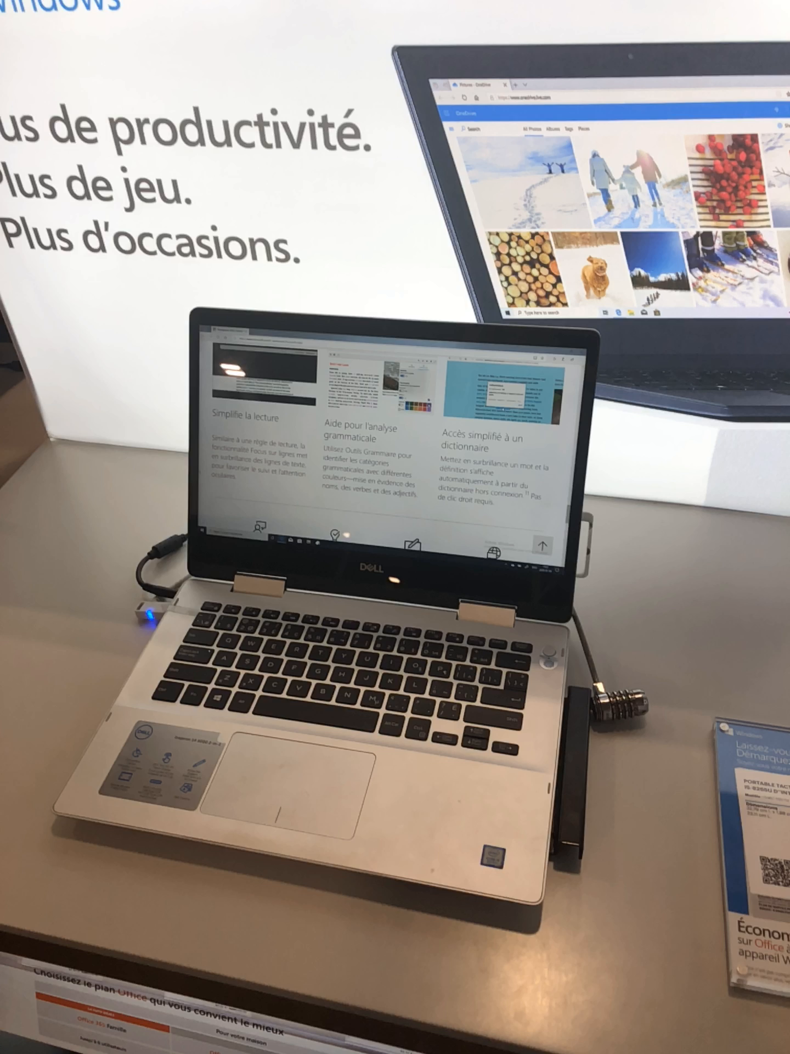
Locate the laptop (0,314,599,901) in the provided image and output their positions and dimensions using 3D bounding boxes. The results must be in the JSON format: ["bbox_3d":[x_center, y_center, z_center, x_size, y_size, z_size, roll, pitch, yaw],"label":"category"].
[{"bbox_3d":[-0.037,0.023,0.607,0.316,0.193,0.338,6,41,12],"label":"laptop"}]
